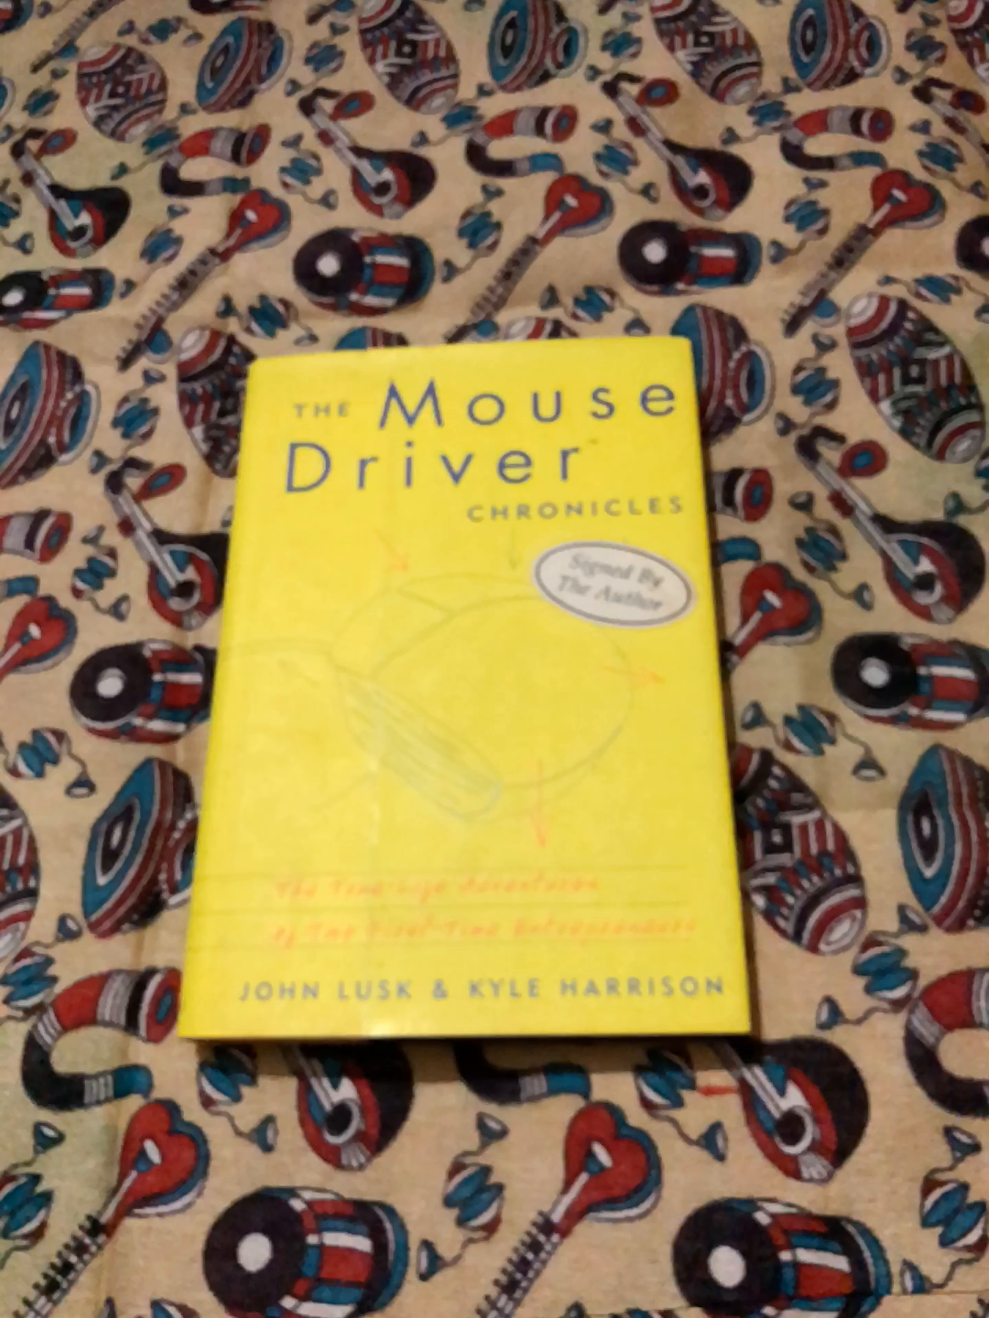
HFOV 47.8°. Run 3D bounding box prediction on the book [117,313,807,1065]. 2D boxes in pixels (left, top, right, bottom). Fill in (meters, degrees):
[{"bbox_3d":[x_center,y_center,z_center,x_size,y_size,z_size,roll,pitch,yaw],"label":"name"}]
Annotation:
[{"bbox_3d":[-0.008,-0.001,0.327,0.160,0.040,0.220,-2,62,3],"label":"book"}]
